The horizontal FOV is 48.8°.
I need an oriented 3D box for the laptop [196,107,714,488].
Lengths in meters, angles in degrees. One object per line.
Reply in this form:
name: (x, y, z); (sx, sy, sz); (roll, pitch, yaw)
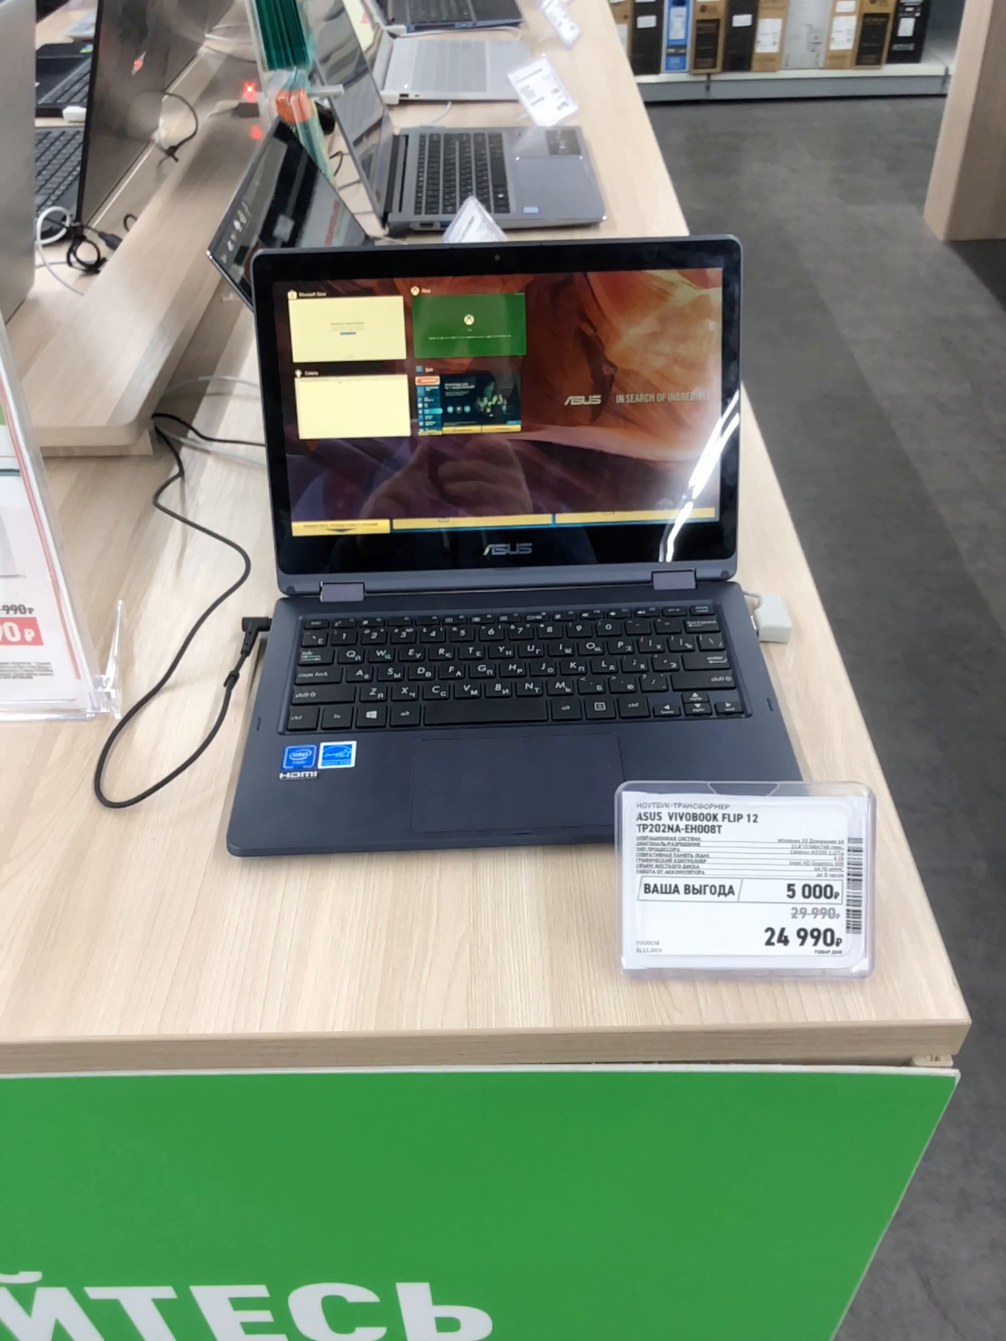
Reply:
laptop: (-0.025, -0.274, 0.791); (0.298, 0.162, 0.262); (-1, 41, 0)

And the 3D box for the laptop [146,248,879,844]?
laptop: (0.002, -0.078, 0.568); (0.269, 0.166, 0.281); (-2, 41, -1)
